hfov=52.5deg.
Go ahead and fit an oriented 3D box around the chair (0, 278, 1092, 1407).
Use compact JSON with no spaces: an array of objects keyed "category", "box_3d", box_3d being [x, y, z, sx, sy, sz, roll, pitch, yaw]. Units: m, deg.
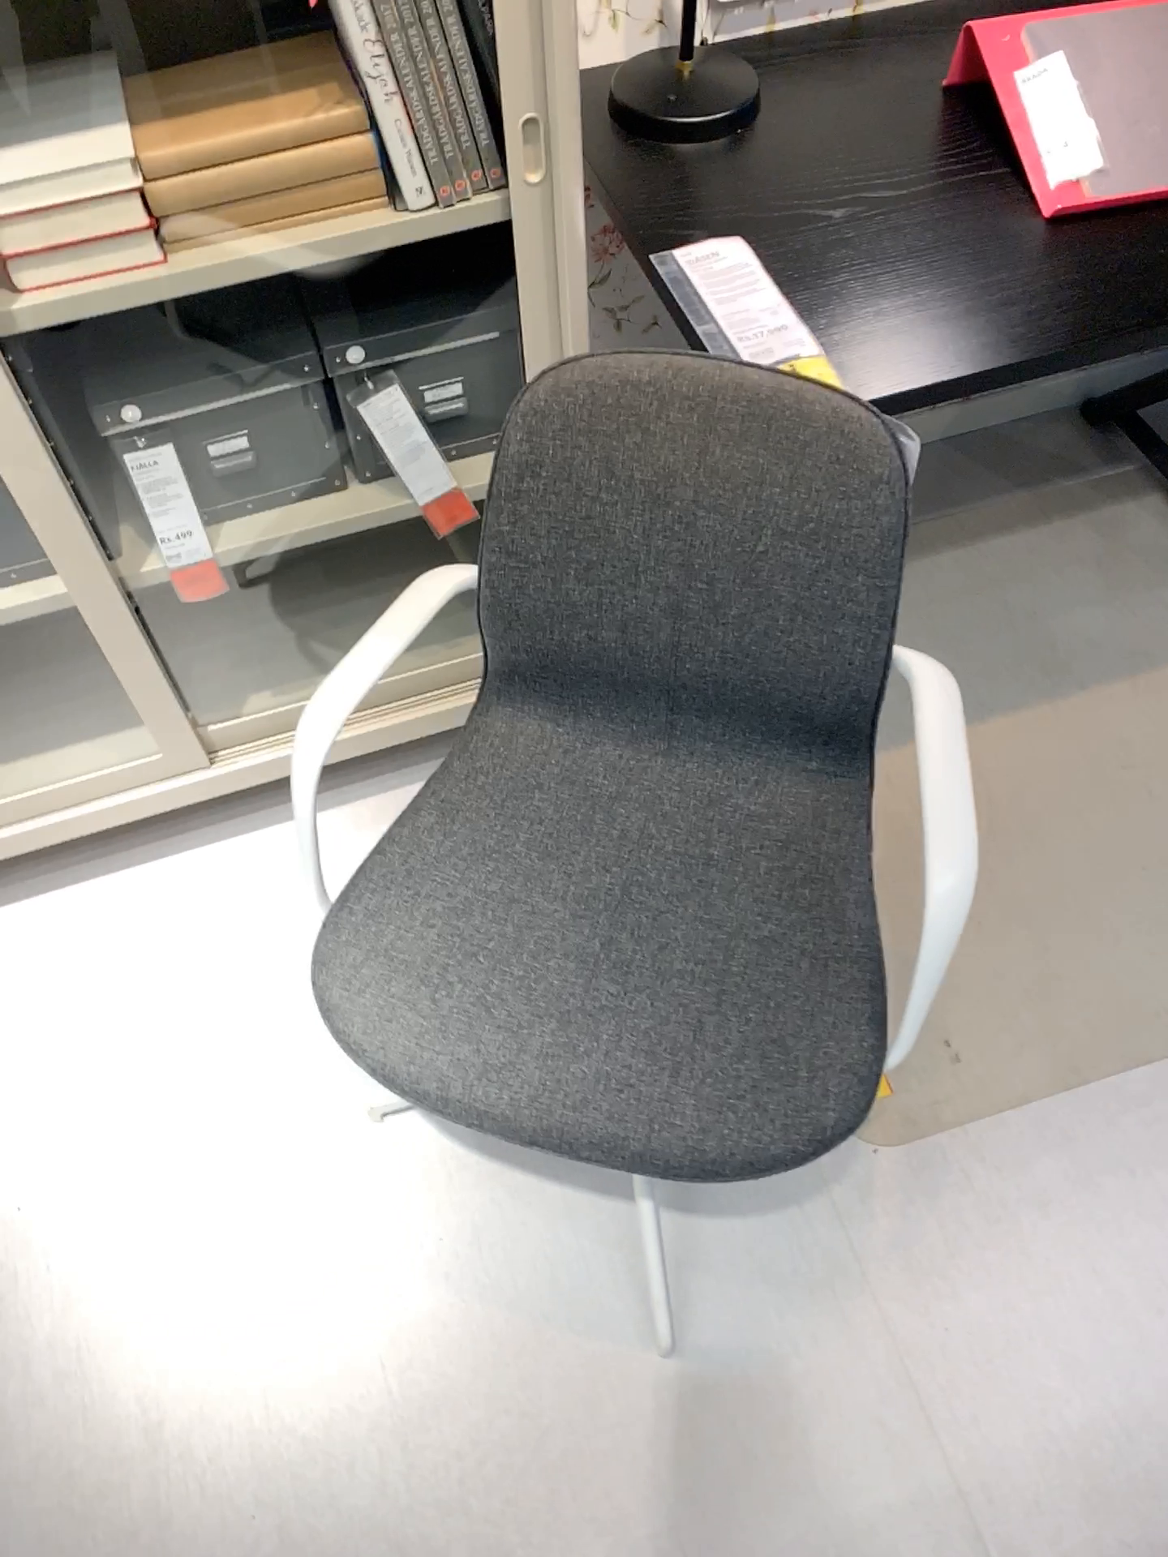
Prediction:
[{"category":"chair","box_3d":[0.023,0.120,1.152,0.620,0.838,0.641,12,57,10]}]
